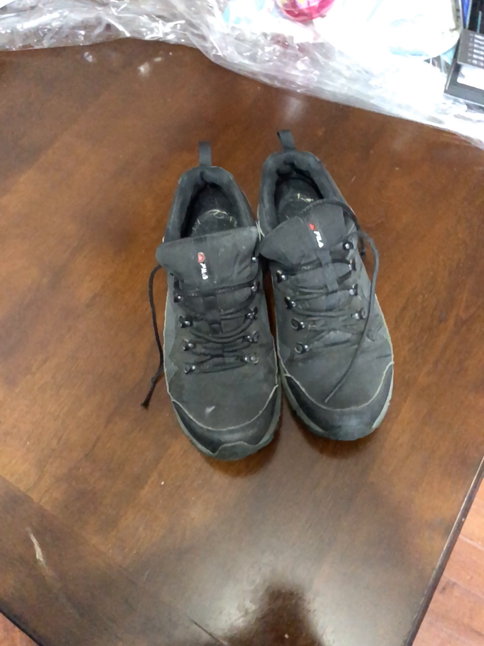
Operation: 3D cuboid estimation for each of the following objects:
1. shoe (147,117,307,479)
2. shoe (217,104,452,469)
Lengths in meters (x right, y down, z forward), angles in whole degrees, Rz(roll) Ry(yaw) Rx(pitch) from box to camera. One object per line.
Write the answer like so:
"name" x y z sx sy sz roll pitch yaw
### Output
"shoe" -0.017 -0.023 0.554 0.120 0.170 0.320 -7 63 2
"shoe" 0.074 -0.039 0.545 0.120 0.150 0.320 -13 63 -1
